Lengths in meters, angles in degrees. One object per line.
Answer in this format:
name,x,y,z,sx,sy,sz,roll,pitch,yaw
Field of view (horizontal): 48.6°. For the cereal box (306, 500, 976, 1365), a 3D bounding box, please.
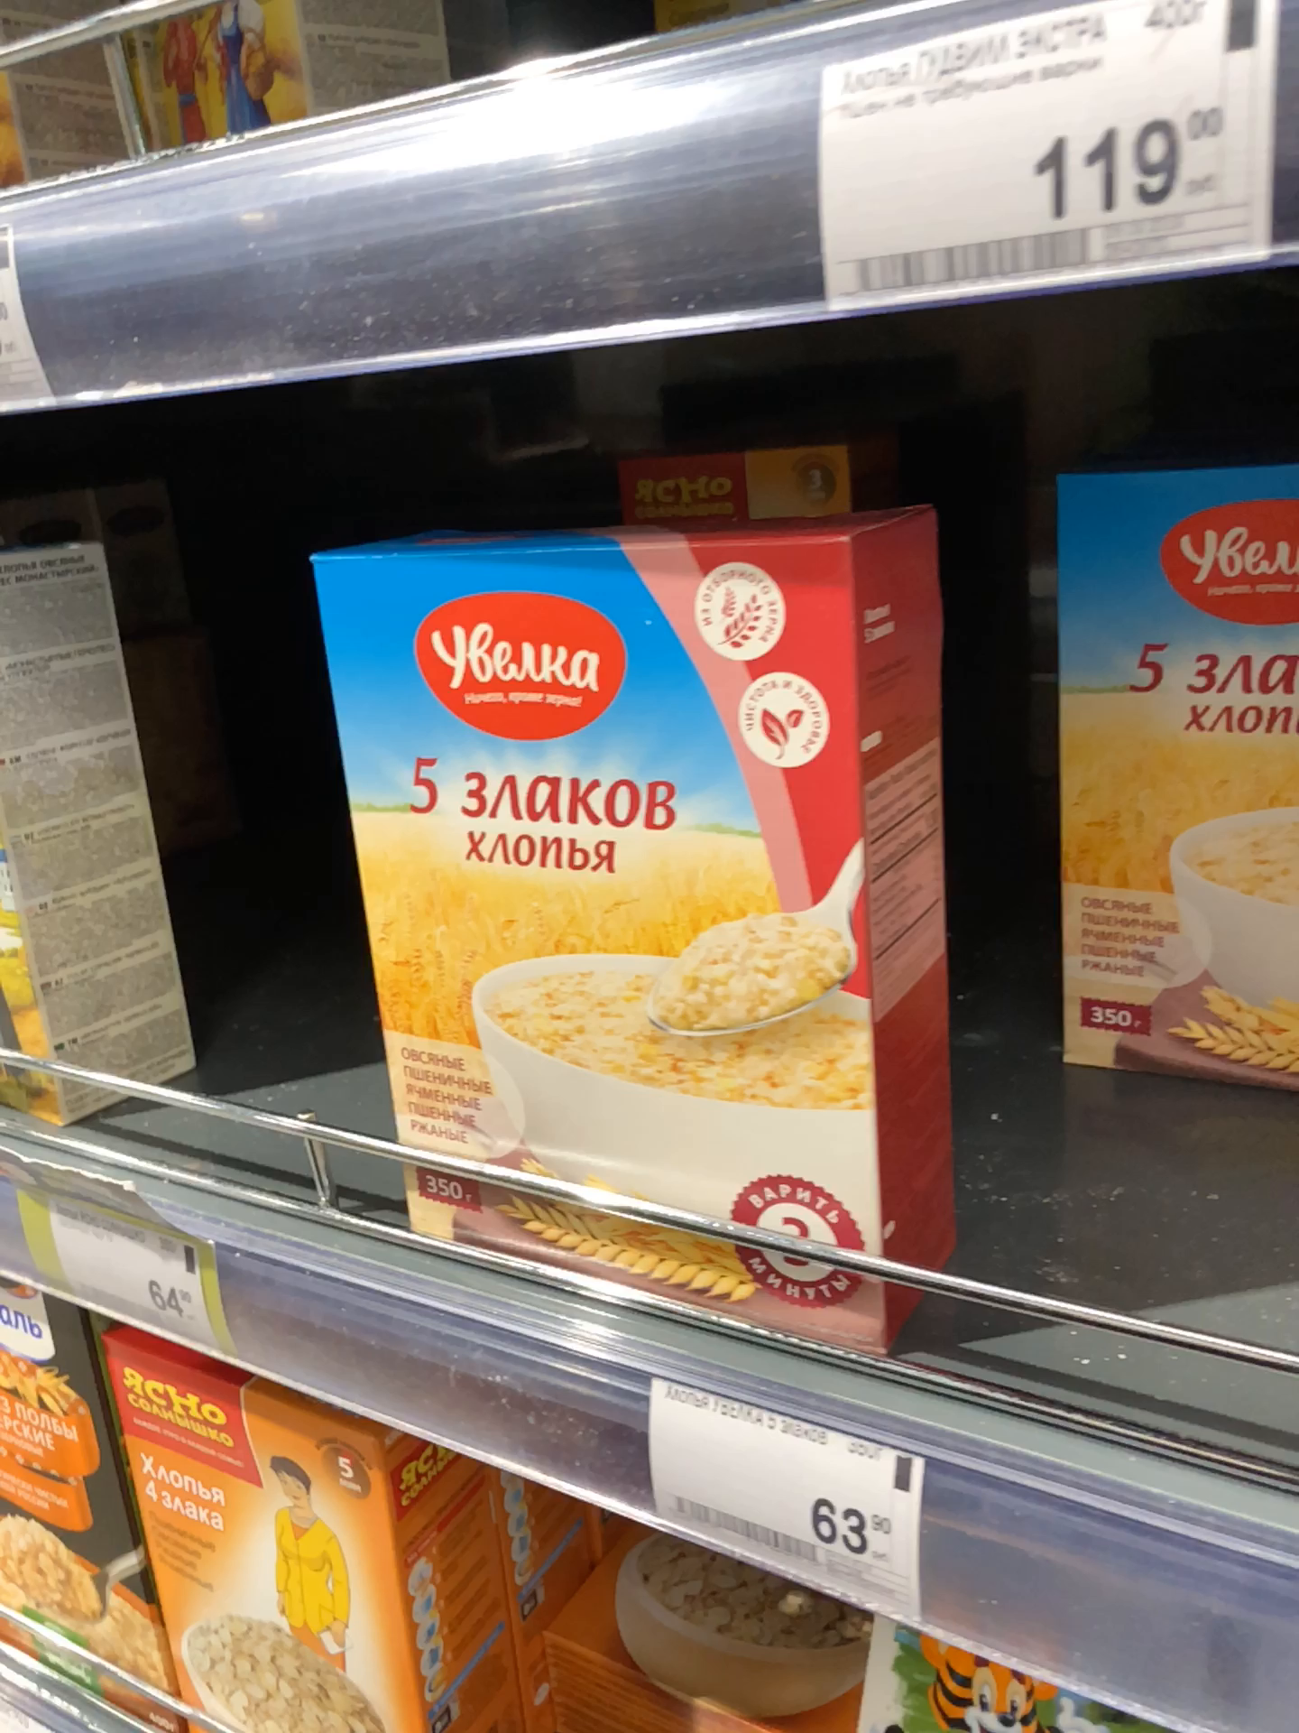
cereal box,0.000,0.010,0.362,0.150,0.189,0.050,5,19,30
